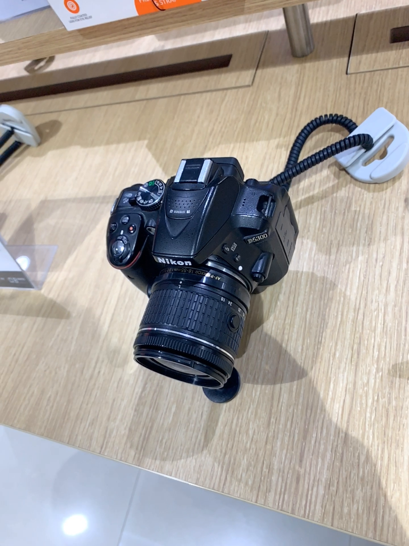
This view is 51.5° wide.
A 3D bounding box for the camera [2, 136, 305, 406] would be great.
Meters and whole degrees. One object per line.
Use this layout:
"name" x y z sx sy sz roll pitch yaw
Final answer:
"camera" -0.020 -0.001 0.253 0.130 0.080 0.120 2 63 25
